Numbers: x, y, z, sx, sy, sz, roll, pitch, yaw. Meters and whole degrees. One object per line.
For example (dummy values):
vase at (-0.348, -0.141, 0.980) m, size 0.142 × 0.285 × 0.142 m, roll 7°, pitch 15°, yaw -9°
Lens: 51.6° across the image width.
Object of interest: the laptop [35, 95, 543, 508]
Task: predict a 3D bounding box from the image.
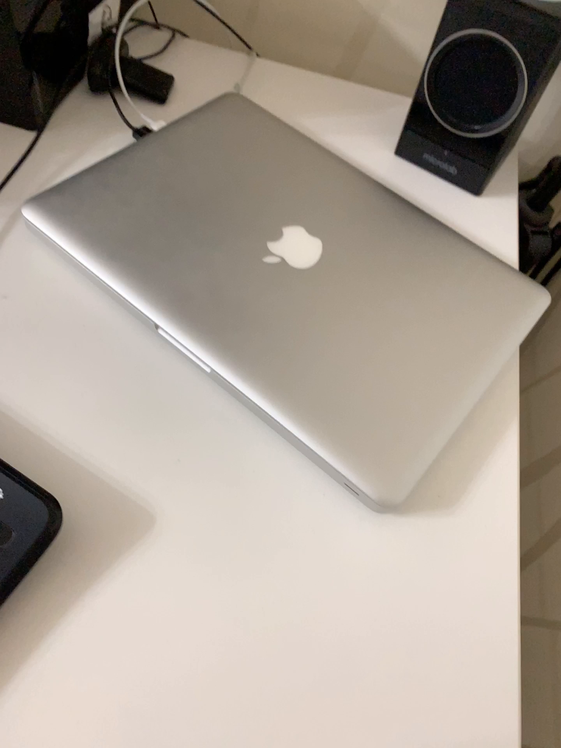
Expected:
laptop at (0.008, -0.082, 0.415) m, size 0.305 × 0.011 × 0.208 m, roll 38°, pitch 61°, yaw 16°
